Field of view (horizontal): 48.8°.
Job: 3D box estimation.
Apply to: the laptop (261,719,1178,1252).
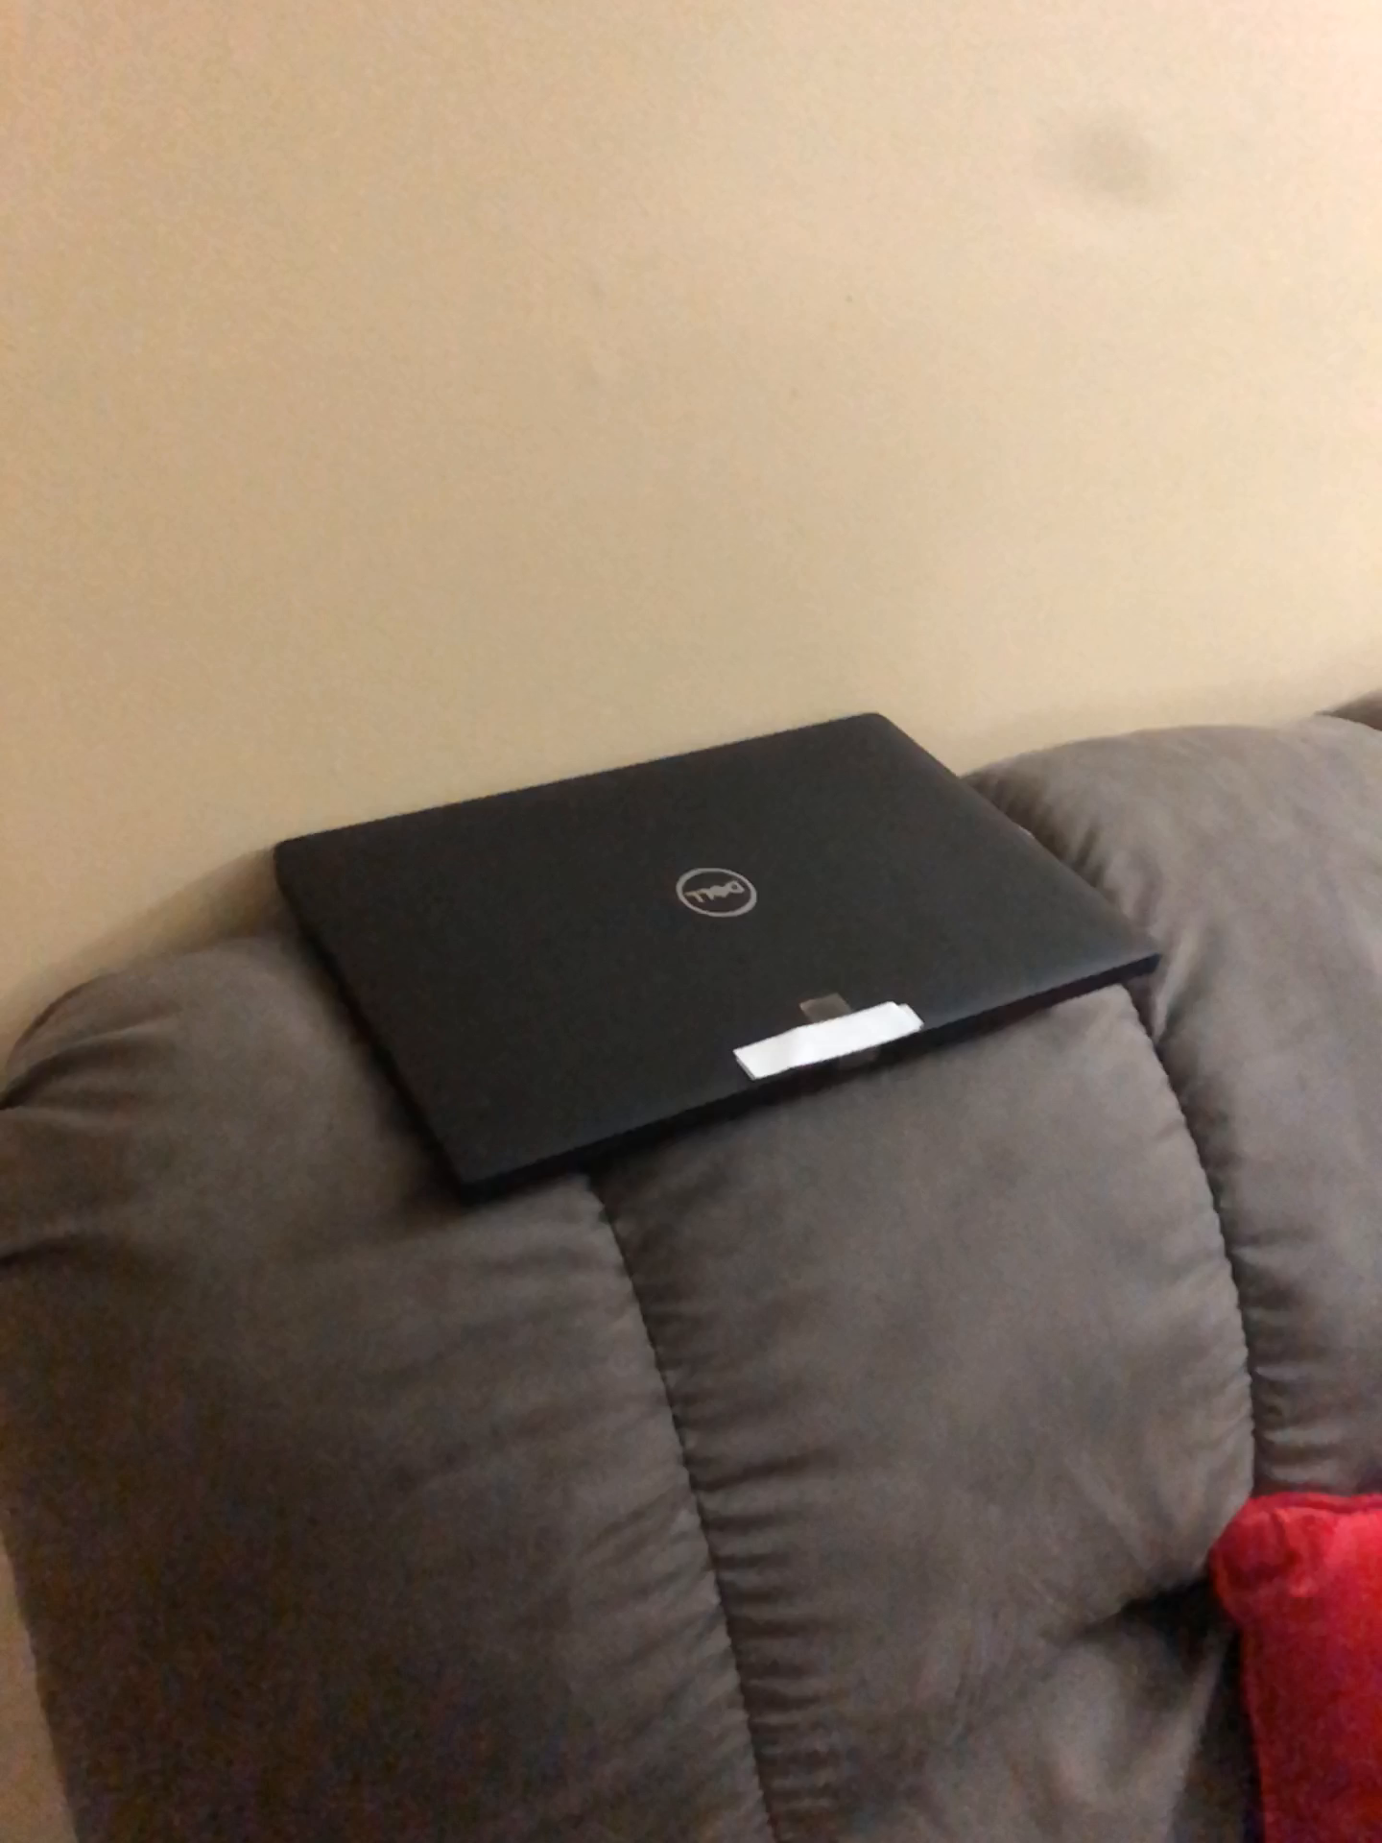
[{"bbox_3d":[0.011,0.005,0.664,0.326,0.030,0.215,-15,42,-26],"label":"laptop"}]
